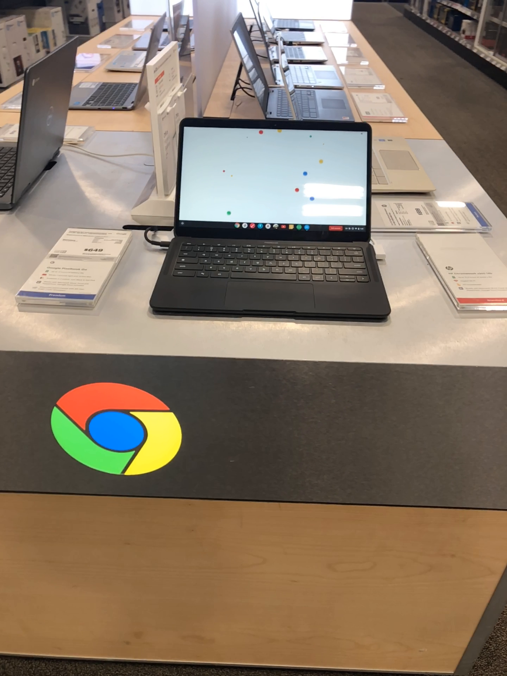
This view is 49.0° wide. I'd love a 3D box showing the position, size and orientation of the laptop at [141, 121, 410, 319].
[{"bbox_3d":[0.031,-0.183,0.781,0.293,0.134,0.337,2,37,1],"label":"laptop"}]
